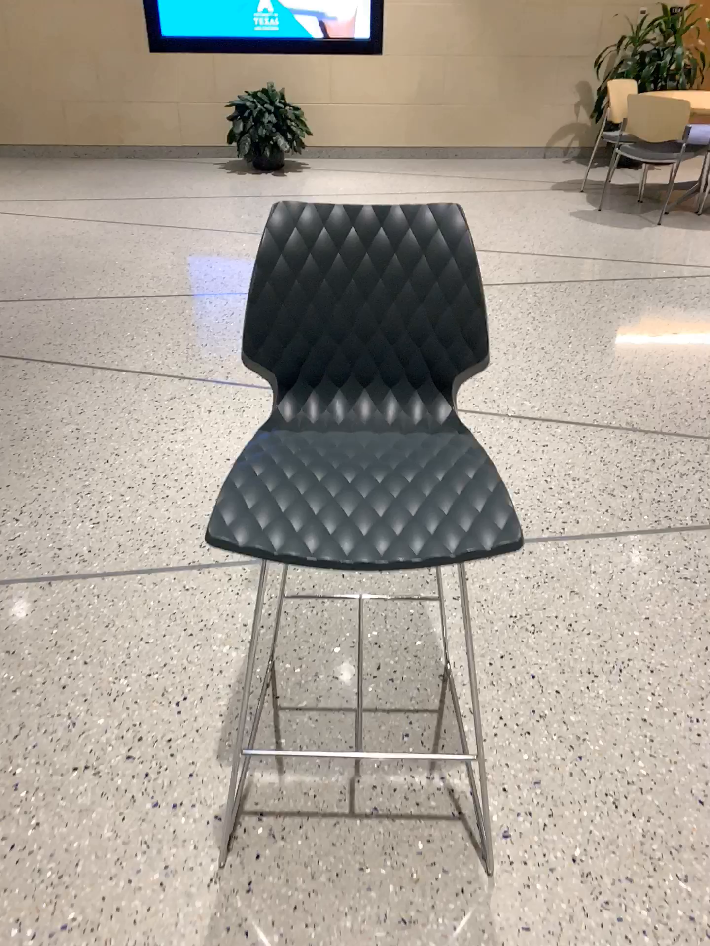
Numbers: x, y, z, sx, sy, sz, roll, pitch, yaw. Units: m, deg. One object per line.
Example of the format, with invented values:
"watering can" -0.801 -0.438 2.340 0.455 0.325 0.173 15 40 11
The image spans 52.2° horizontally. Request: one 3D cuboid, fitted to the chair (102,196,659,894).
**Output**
"chair" 0.028 0.136 1.187 0.534 0.995 0.536 2 33 2
